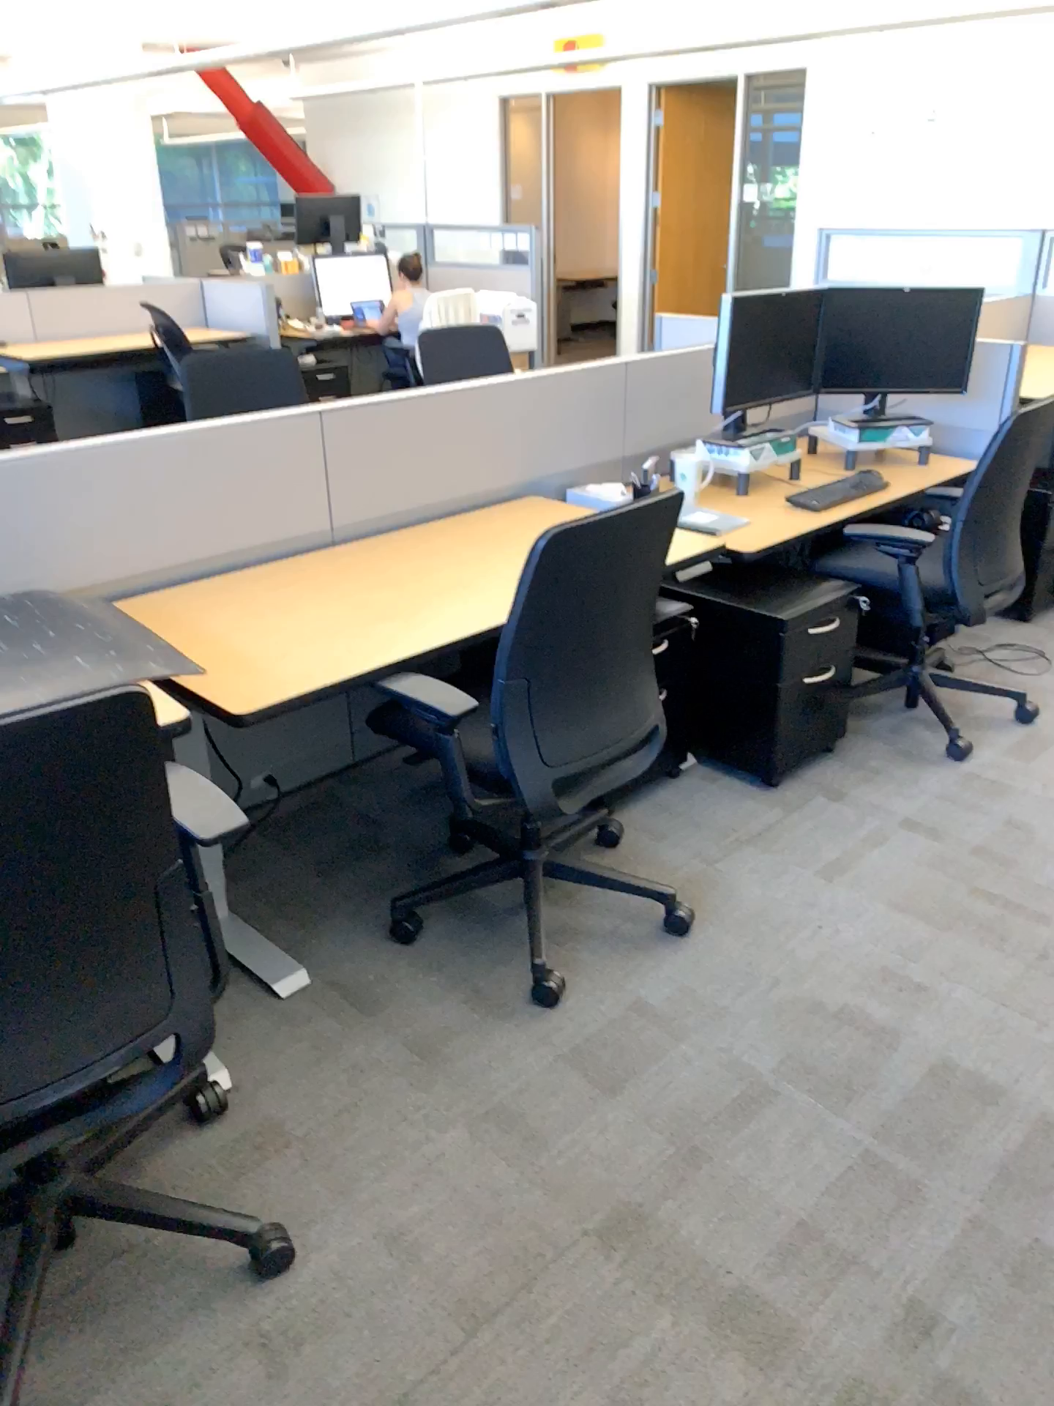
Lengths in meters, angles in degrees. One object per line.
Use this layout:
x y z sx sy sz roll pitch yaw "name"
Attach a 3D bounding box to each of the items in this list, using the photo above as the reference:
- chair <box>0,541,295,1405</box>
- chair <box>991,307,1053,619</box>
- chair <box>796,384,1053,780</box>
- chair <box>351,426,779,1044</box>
-0.752 0.381 1.468 0.561 0.995 0.603 -17 30 -32 "chair"
2.375 -0.972 4.200 0.761 0.995 0.632 -23 33 -39 "chair"
1.200 -0.382 3.209 0.541 0.995 0.462 -22 33 -39 "chair"
0.069 0.023 2.166 0.521 0.995 0.582 -23 33 -40 "chair"
